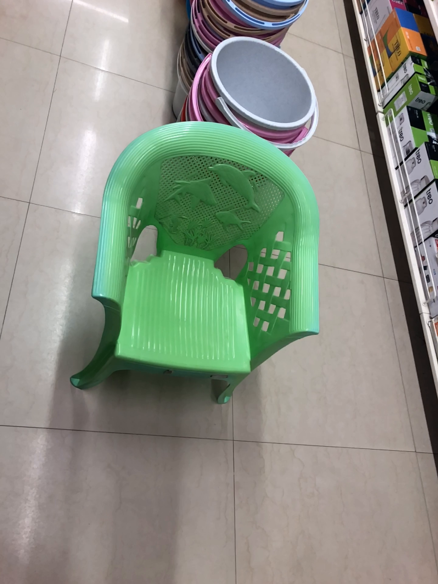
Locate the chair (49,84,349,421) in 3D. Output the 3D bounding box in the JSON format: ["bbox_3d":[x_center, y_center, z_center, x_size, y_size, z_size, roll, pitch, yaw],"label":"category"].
[{"bbox_3d":[-0.064,-0.035,0.969,0.430,0.398,0.472,10,61,-19],"label":"chair"}]
